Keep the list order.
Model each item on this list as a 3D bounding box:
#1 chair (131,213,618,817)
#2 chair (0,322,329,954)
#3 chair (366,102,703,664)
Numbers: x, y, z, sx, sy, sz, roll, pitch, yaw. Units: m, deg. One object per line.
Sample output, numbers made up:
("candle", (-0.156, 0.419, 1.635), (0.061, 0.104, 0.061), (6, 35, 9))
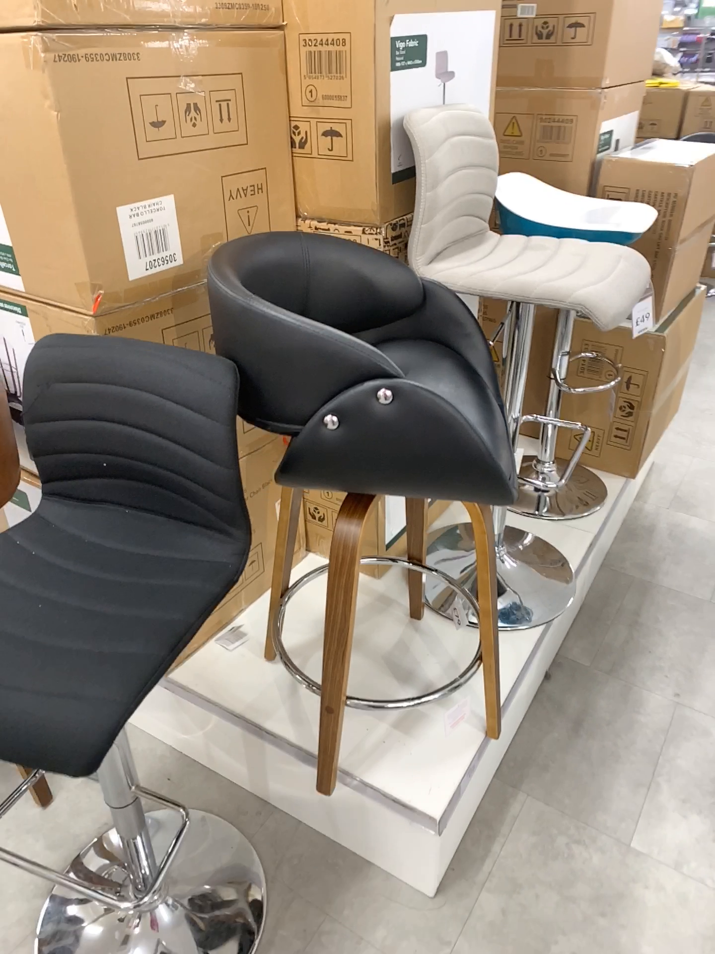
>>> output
("chair", (0.032, 0.067, 1.298), (0.546, 0.898, 0.570), (1, 33, 2))
("chair", (-0.405, 0.349, 1.105), (0.485, 1.017, 0.470), (9, 31, 23))
("chair", (0.321, -0.203, 1.467), (0.437, 0.968, 0.437), (16, 32, 26))
